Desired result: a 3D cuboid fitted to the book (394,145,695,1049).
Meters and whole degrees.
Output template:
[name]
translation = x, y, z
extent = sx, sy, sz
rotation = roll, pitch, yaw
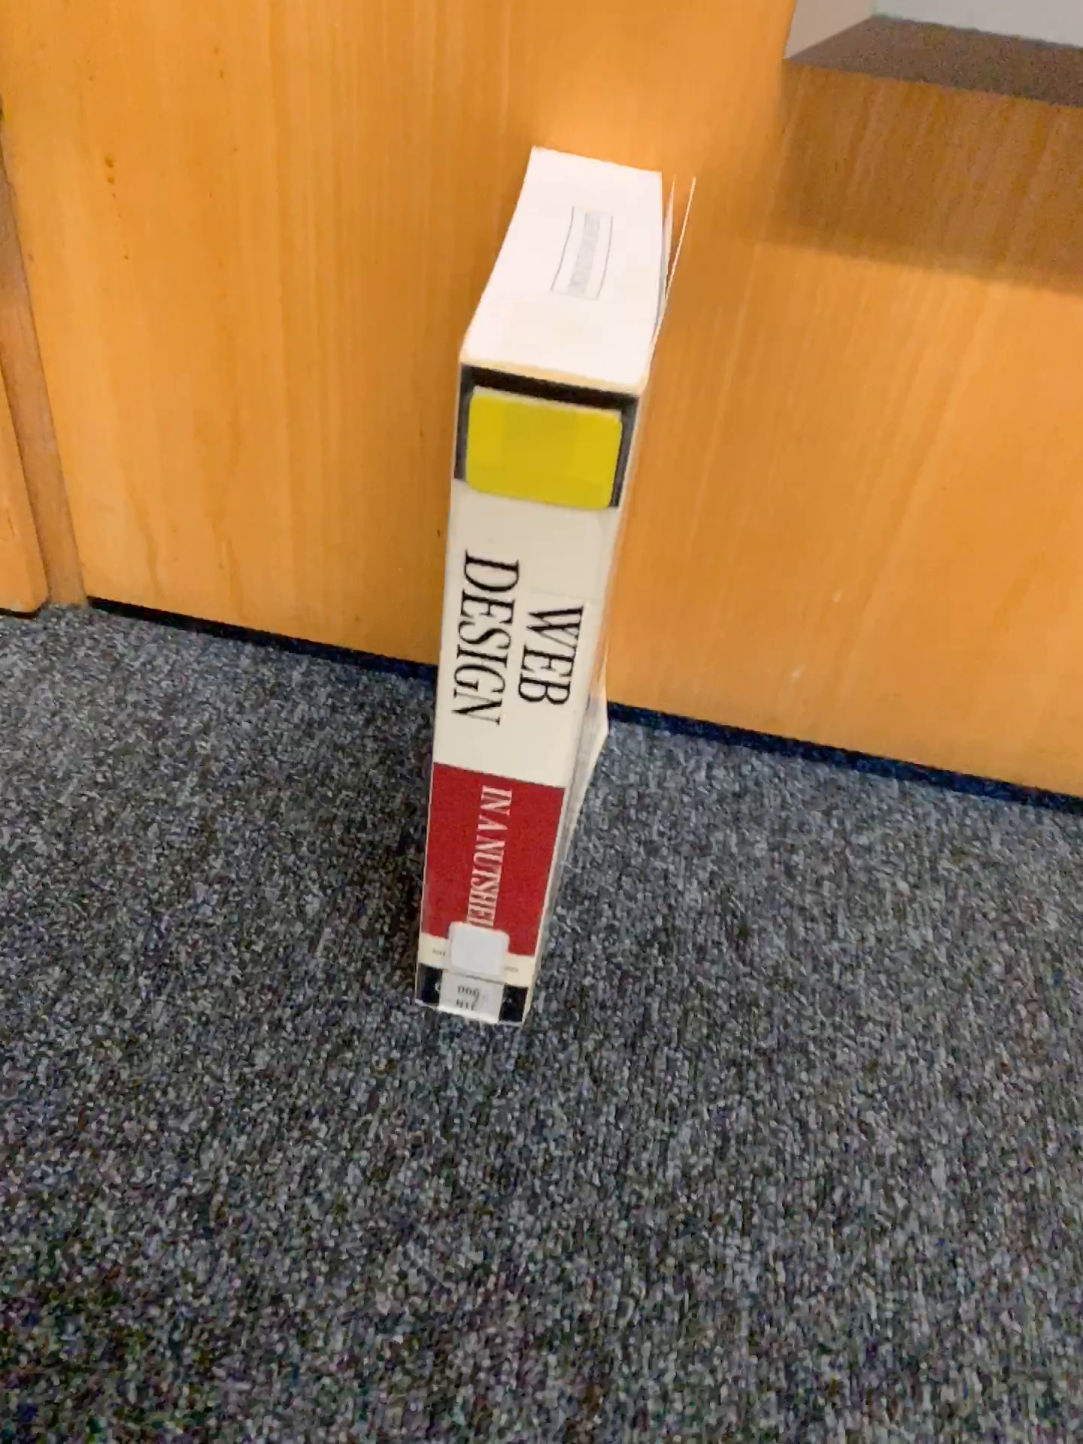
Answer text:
[book]
translation = -0.001, -0.036, 0.360
extent = 0.050, 0.228, 0.172
rotation = 10, 41, 1
